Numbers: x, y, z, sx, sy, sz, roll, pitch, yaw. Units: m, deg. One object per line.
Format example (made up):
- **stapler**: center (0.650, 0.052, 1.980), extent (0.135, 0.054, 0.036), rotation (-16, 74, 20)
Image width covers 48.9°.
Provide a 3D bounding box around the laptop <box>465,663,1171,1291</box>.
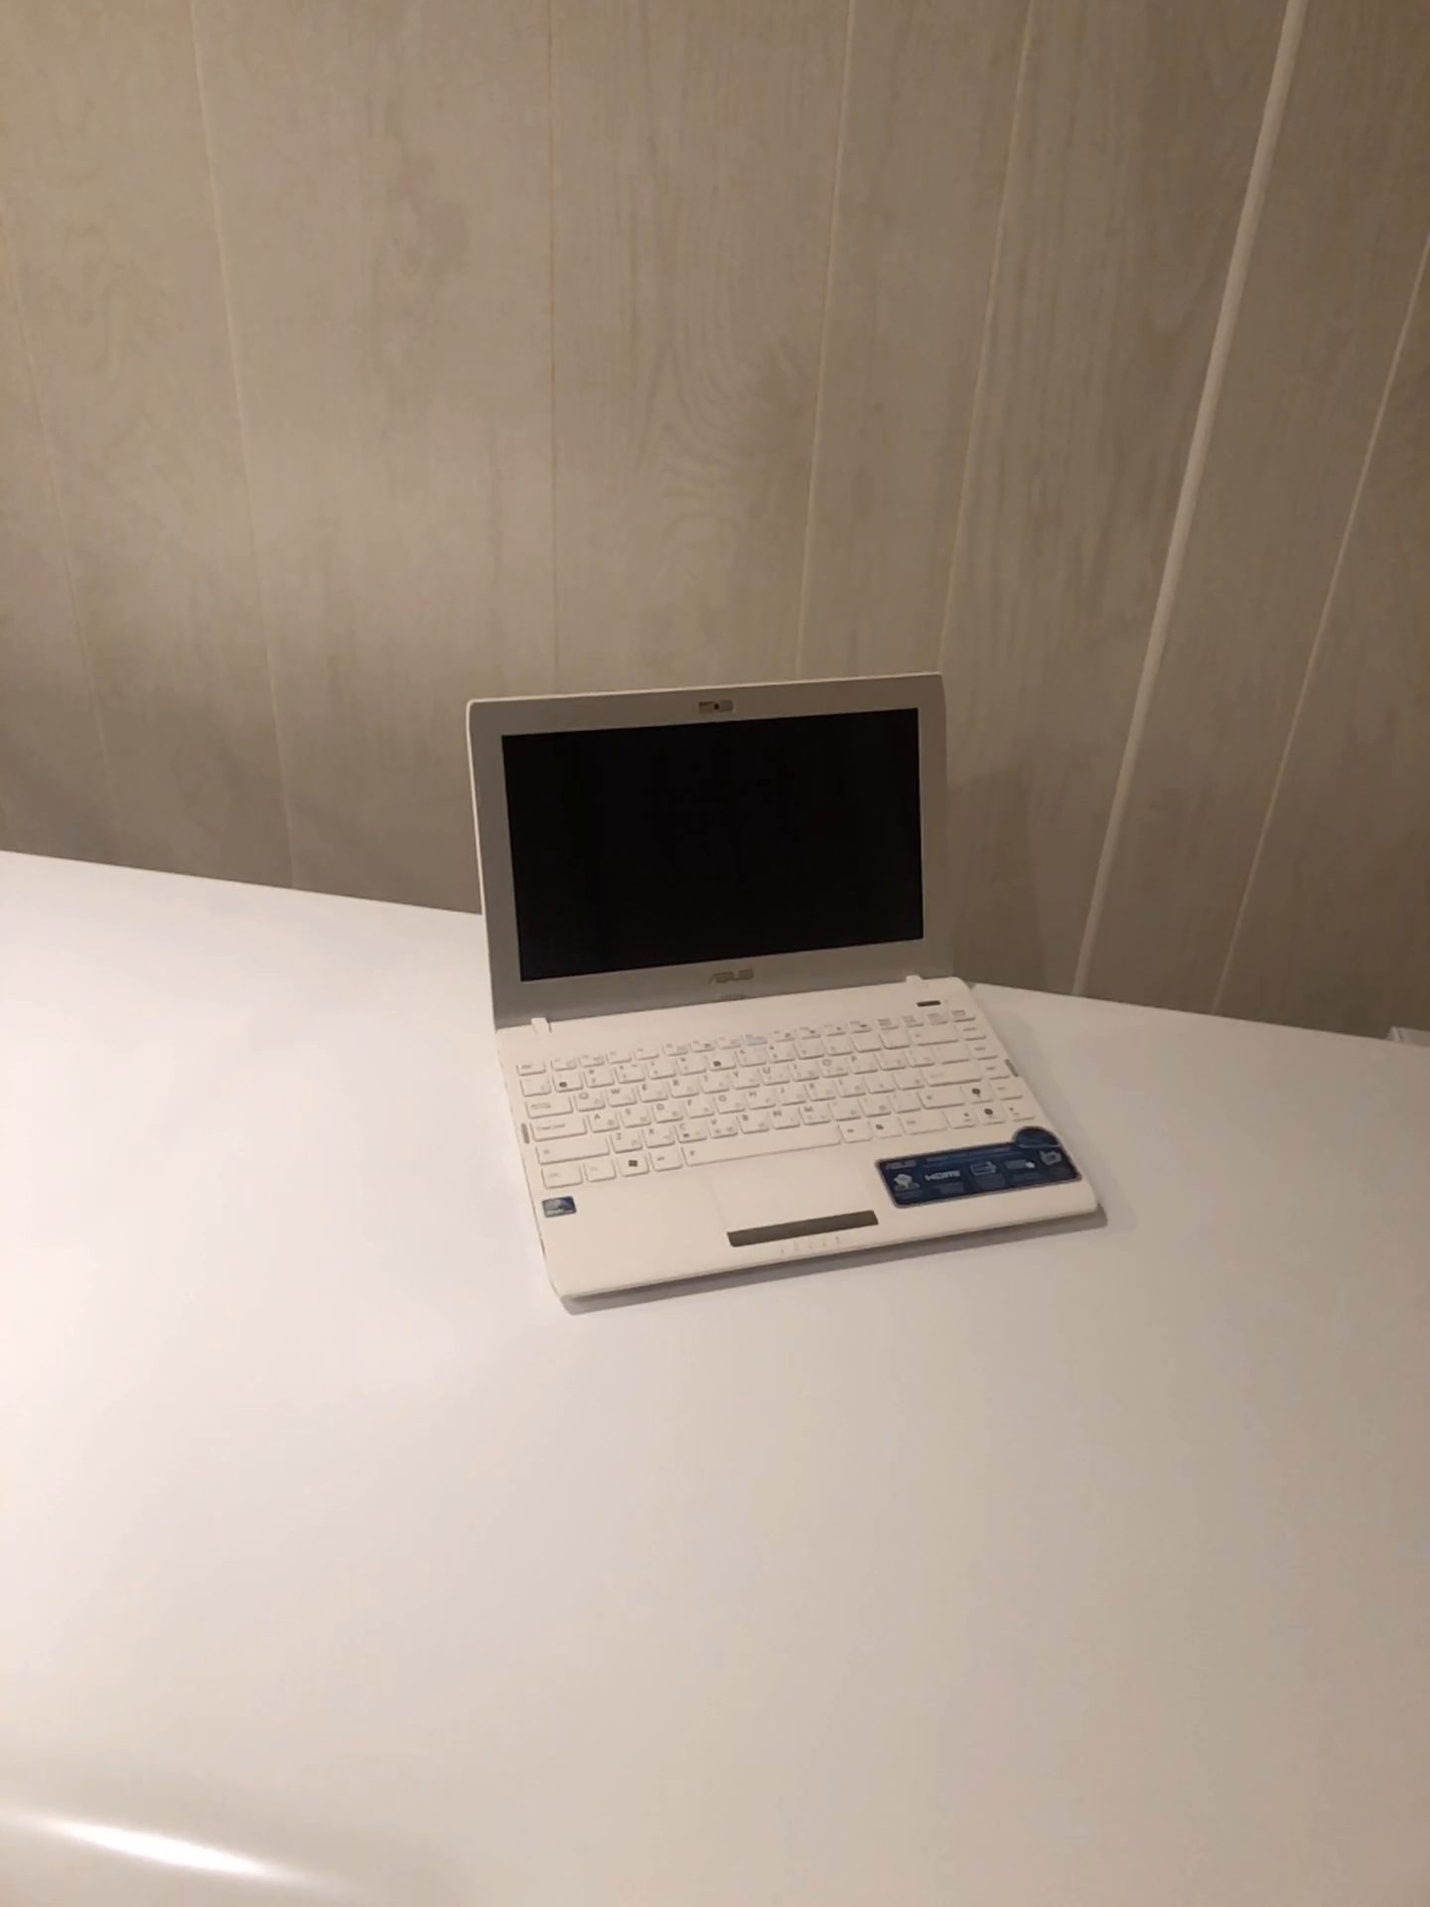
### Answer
- **laptop**: center (0.032, -0.007, 0.861), extent (0.288, 0.168, 0.293), rotation (-6, 37, -14)
